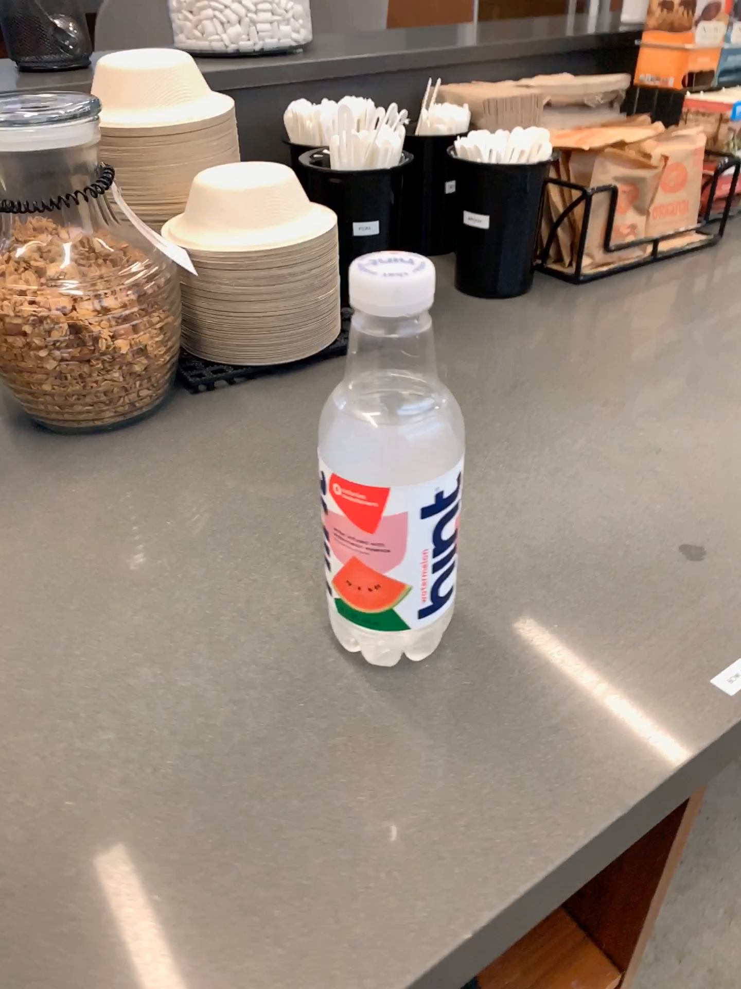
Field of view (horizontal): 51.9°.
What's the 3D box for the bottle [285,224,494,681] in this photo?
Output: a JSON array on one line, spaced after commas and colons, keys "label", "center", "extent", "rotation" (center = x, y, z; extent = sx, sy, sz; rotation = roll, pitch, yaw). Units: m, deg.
[{"label": "bottle", "center": [0.012, -0.013, 0.355], "extent": [0.070, 0.199, 0.070], "rotation": [-1, 35, 0]}]
